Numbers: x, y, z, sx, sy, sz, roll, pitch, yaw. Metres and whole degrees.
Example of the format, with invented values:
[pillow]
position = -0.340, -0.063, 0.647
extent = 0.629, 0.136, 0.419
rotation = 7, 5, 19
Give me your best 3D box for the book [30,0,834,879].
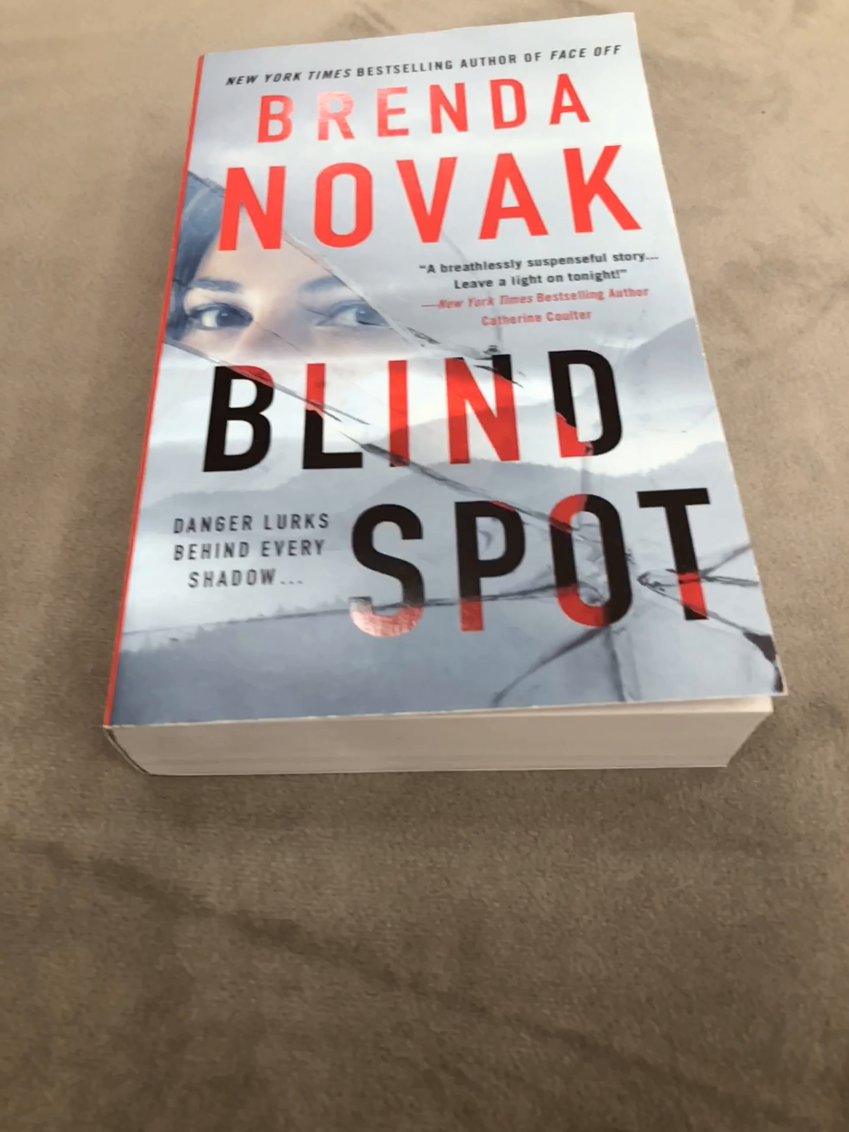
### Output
[book]
position = -0.002, -0.038, 0.209
extent = 0.120, 0.050, 0.191
rotation = -5, 60, 5
